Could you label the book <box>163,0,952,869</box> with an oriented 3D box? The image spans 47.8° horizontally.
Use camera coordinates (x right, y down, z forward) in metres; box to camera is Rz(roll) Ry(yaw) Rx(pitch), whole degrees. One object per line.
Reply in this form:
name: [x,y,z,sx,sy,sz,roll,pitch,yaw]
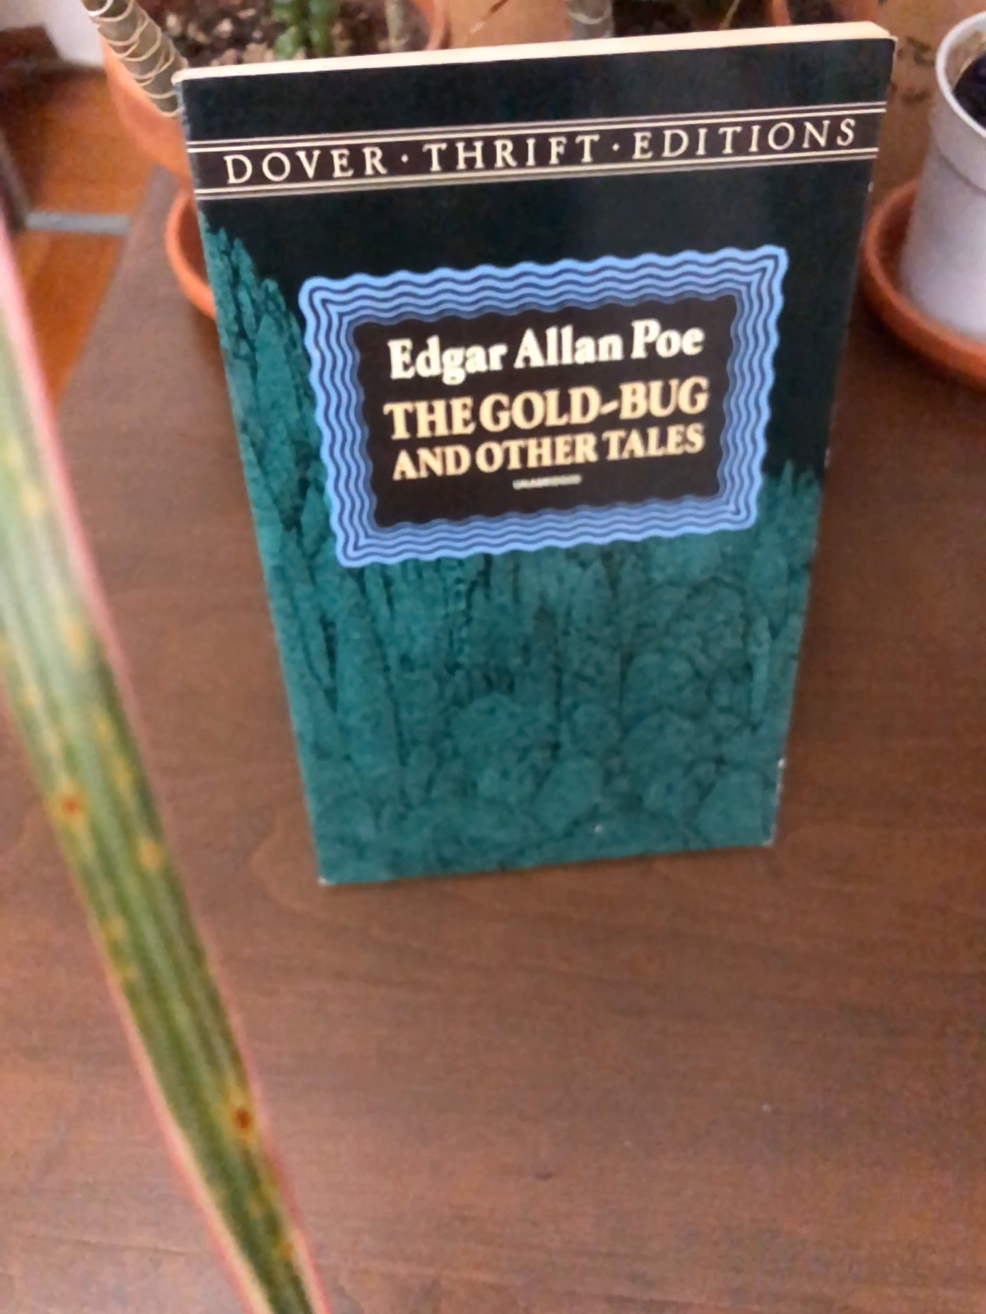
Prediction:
book: [0.016,-0.038,0.264,0.140,0.209,0.020,-5,35,-3]
